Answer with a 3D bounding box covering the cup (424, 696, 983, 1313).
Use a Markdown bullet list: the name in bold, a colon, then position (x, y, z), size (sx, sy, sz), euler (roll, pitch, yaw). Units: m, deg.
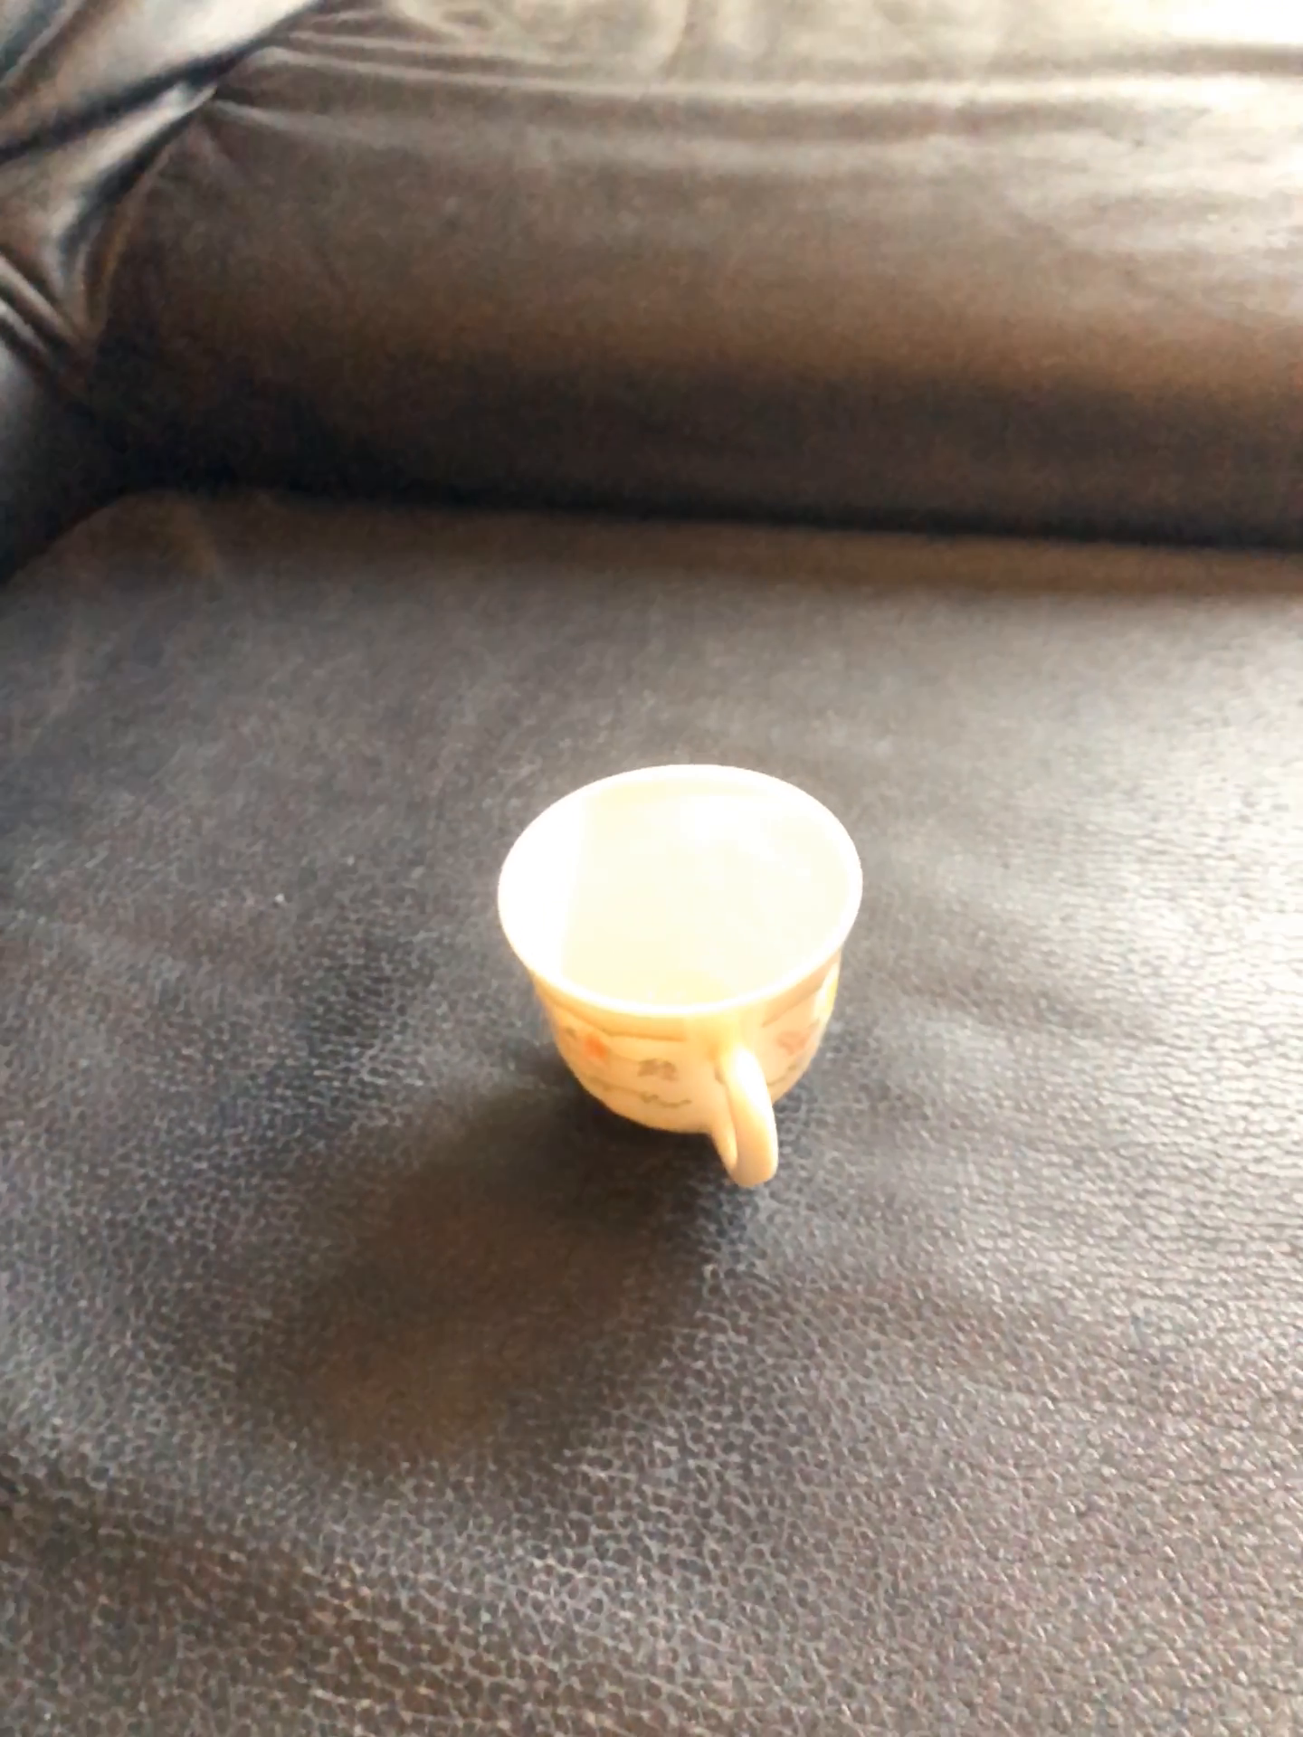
- **cup**: position (0.005, 0.019, 0.256), size (0.068, 0.050, 0.084), euler (-13, 42, -12)
